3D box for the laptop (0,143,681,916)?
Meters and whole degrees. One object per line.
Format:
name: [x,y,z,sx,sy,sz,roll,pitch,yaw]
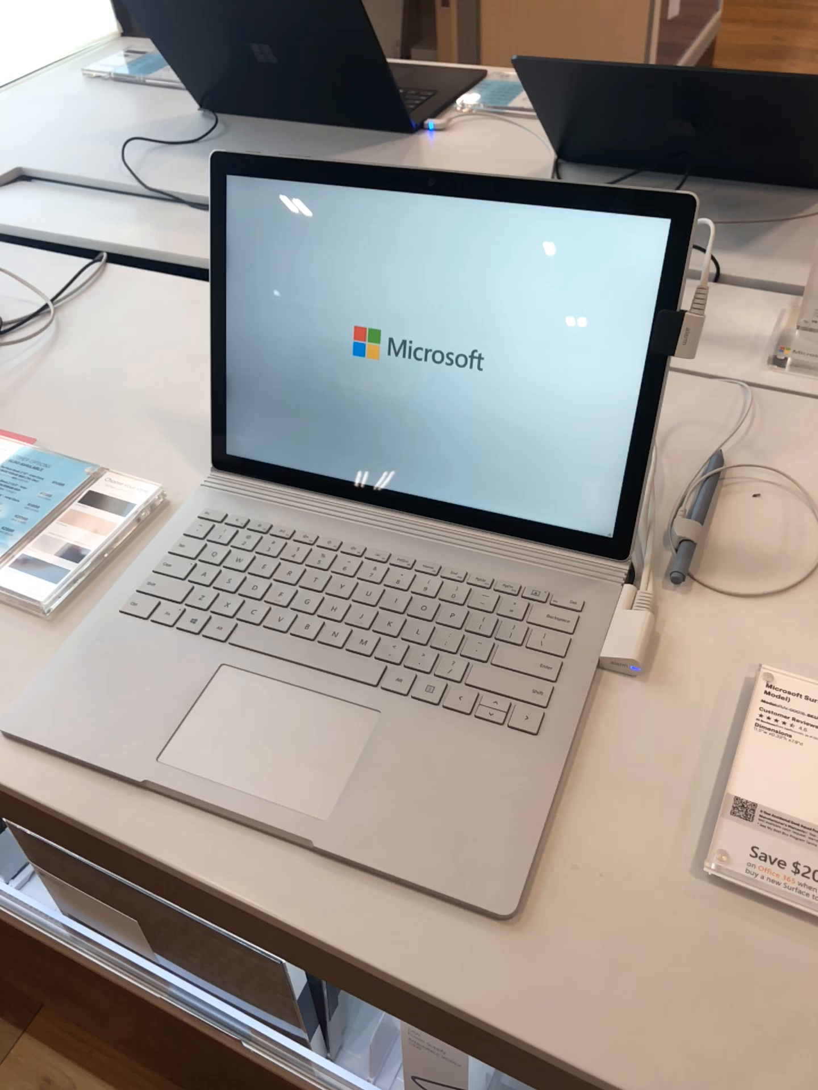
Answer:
laptop: [-0.043,-0.044,0.482,0.291,0.191,0.312,14,47,19]
